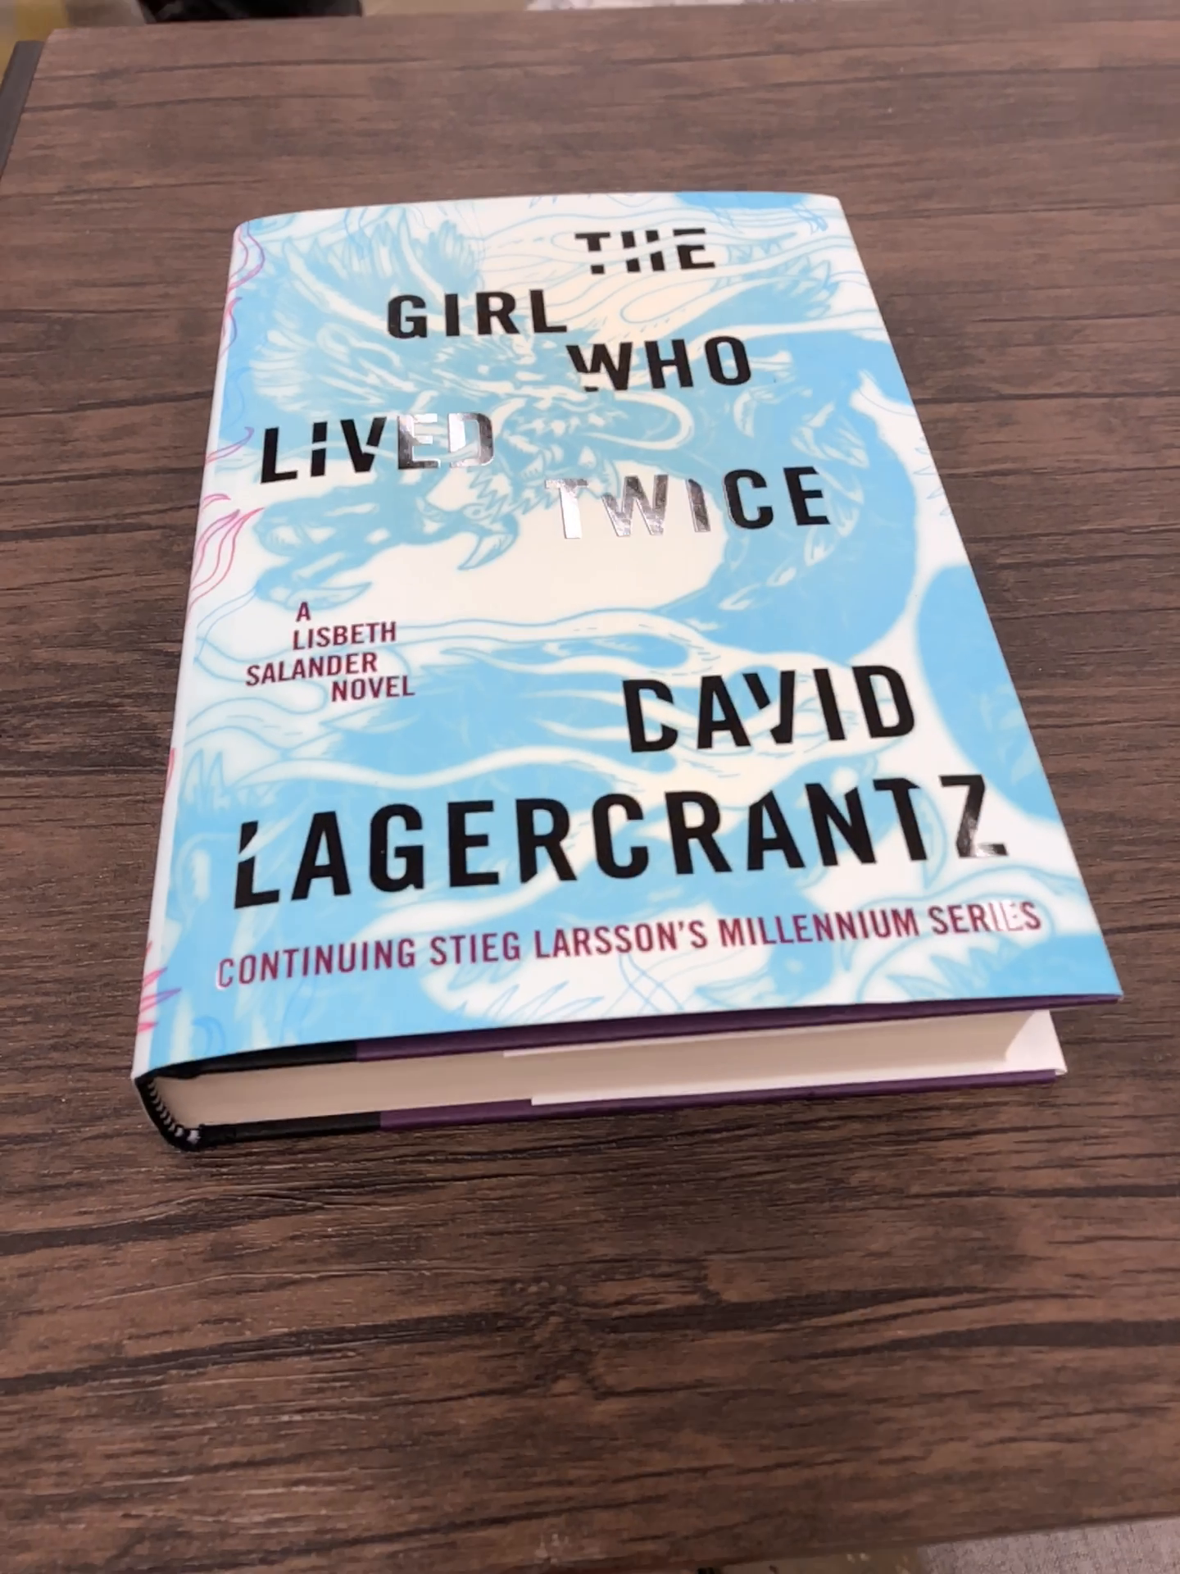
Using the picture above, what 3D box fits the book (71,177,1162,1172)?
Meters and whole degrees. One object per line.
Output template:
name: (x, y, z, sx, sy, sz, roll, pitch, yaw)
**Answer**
book: (-0.004, -0.047, 0.289, 0.170, 0.040, 0.240, -4, 55, -3)
